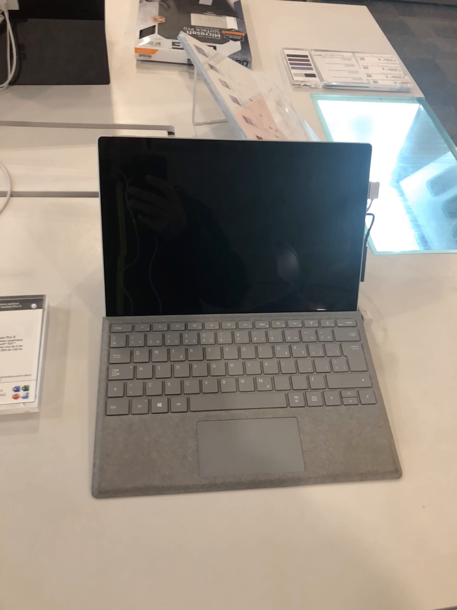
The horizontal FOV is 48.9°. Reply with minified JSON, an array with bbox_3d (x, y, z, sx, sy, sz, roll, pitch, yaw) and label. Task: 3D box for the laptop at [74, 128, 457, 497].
[{"bbox_3d":[0.019,-0.006,0.483,0.278,0.147,0.298,-1,55,-8],"label":"laptop"}]
